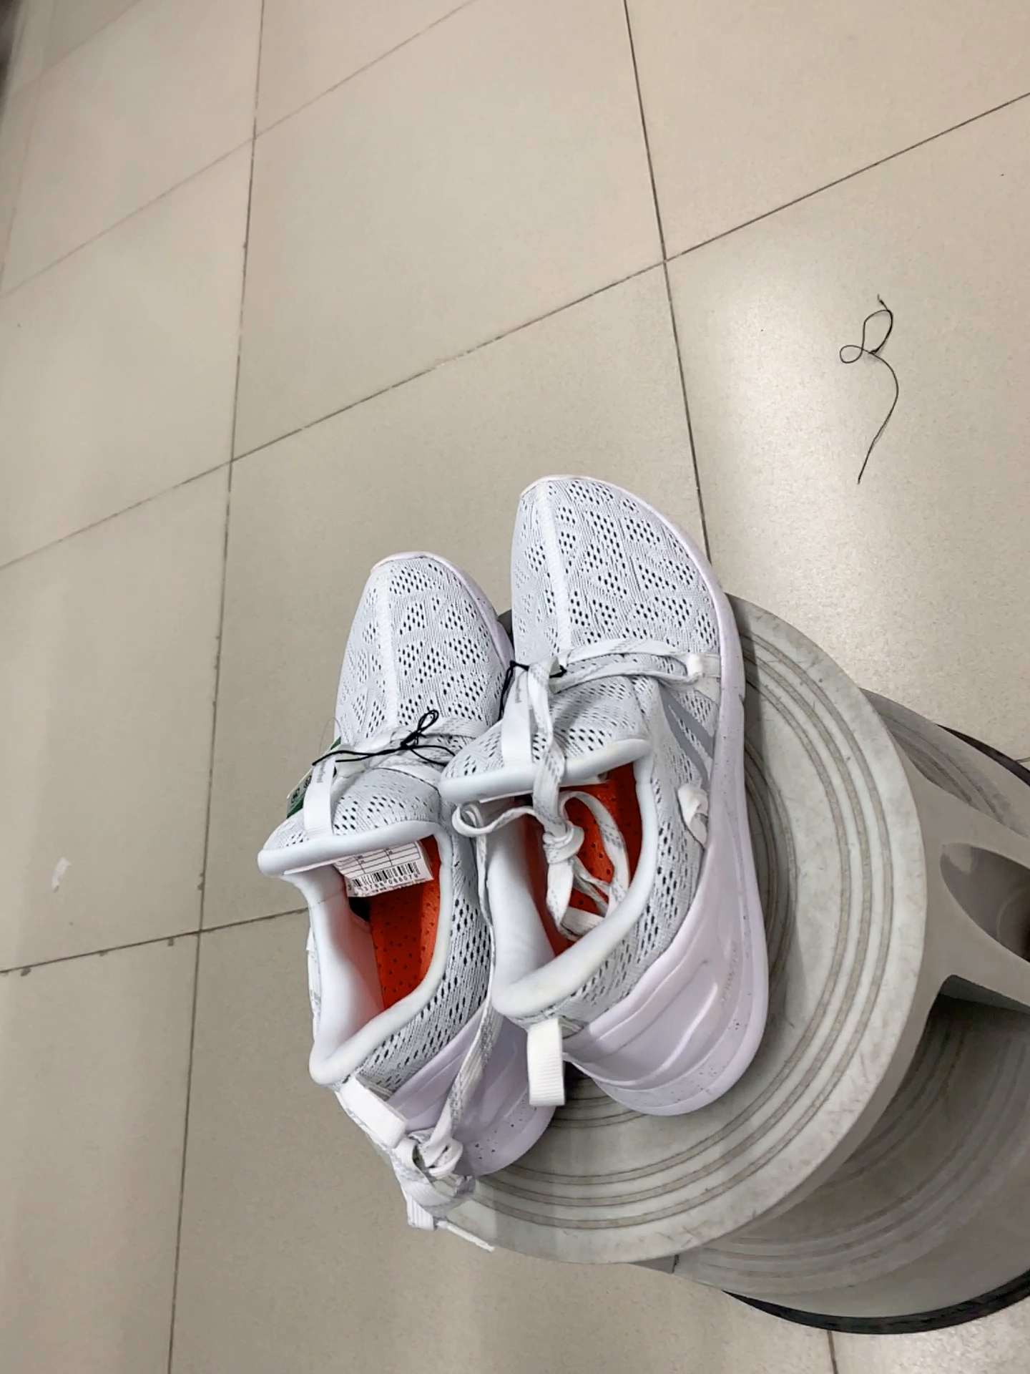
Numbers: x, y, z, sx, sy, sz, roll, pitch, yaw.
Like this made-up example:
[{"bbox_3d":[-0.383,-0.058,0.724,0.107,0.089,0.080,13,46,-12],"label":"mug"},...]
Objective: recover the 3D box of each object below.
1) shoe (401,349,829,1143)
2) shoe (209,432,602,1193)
[{"bbox_3d":[0.029,0.021,0.413,0.110,0.080,0.280,-18,62,25],"label":"shoe"},{"bbox_3d":[-0.049,0.050,0.440,0.110,0.090,0.280,-18,62,25],"label":"shoe"}]
